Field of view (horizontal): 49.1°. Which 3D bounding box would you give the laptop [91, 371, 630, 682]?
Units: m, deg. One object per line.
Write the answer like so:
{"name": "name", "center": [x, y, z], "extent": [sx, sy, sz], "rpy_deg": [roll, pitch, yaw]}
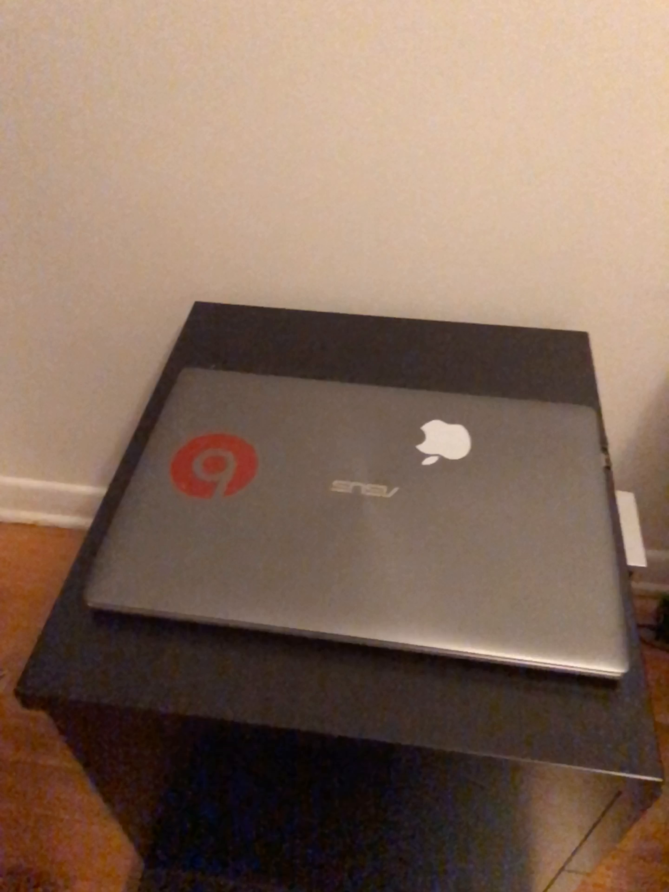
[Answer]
{"name": "laptop", "center": [0.027, 0.043, 0.591], "extent": [0.373, 0.010, 0.250], "rpy_deg": [6, 47, 7]}
